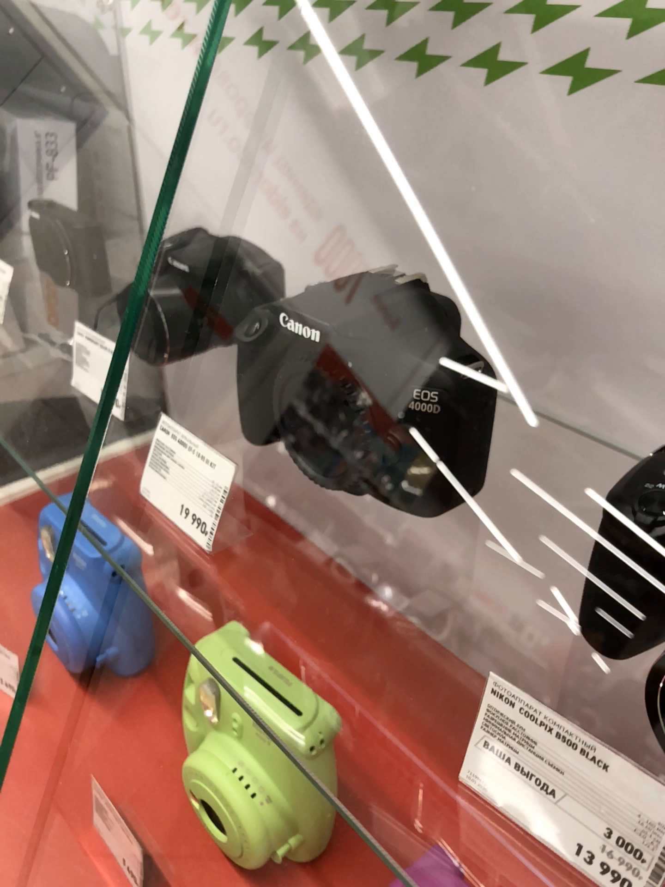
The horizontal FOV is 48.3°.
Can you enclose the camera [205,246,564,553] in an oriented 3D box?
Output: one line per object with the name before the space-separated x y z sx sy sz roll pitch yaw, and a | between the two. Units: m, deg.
camera | 0.021 -0.032 0.367 0.100 0.083 0.136 -25 40 -36
